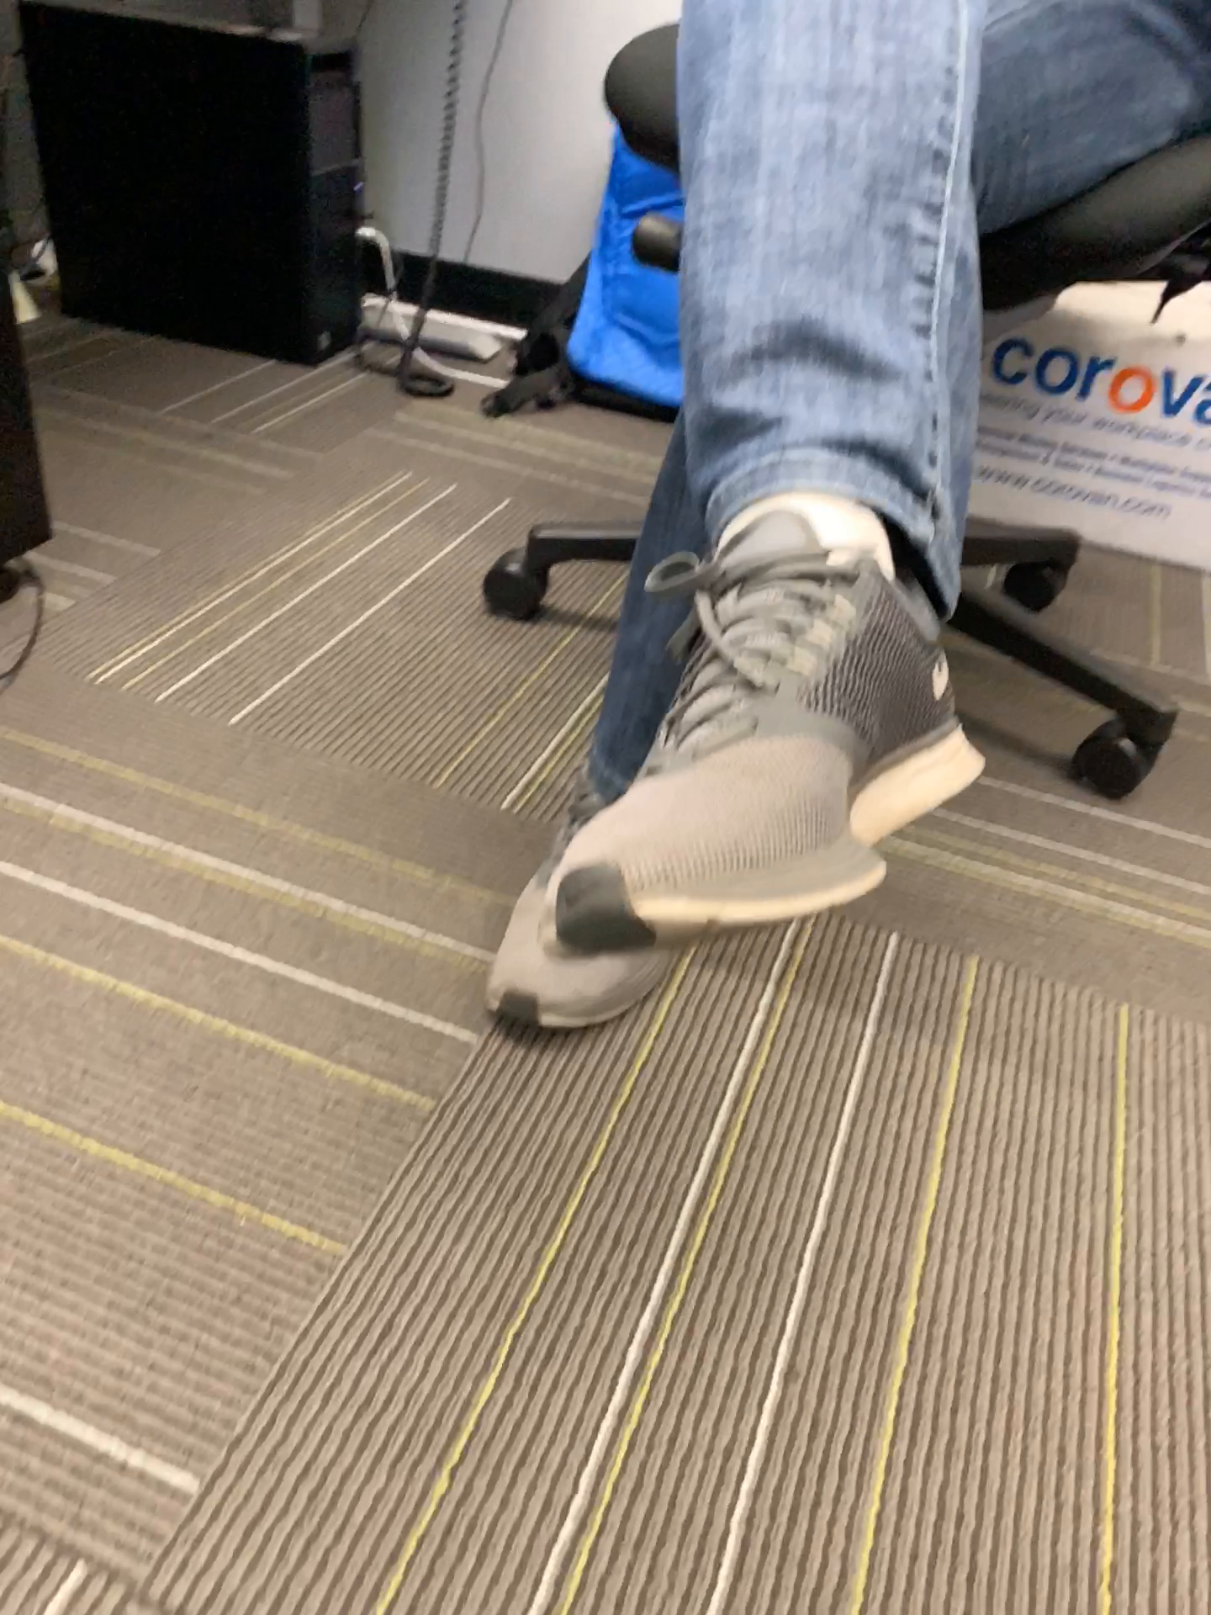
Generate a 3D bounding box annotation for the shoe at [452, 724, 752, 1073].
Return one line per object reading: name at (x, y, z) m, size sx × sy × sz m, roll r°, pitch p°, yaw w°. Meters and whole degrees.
shoe at (0.005, 0.054, 0.914) m, size 0.120 × 0.085 × 0.270 m, roll 18°, pitch 37°, yaw 14°

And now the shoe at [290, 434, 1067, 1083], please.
shoe at (0.054, -0.037, 0.479) m, size 0.122 × 0.143 × 0.296 m, roll -20°, pitch 7°, yaw 39°
